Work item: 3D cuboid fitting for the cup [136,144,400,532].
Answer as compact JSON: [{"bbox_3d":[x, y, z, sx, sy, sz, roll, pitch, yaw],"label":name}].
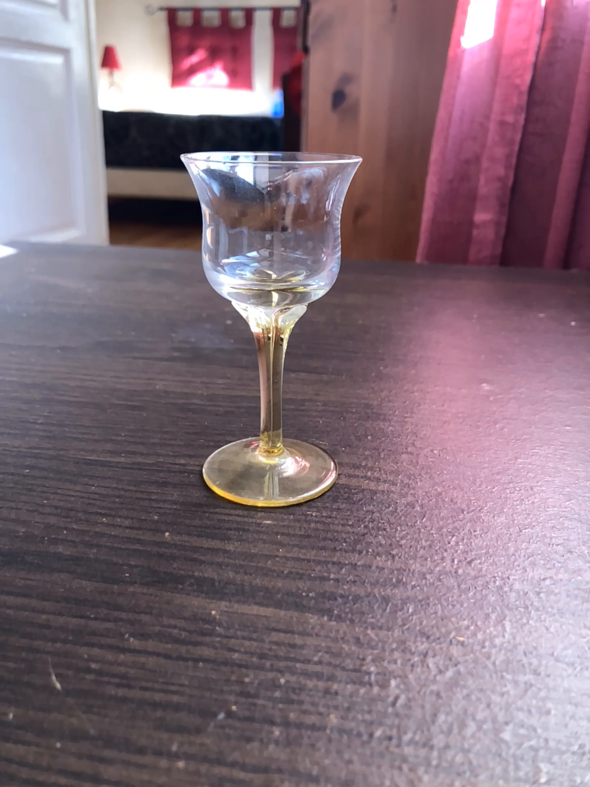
[{"bbox_3d":[-0.005,-0.019,0.186,0.058,0.093,0.051,6,22,8],"label":"cup"}]
